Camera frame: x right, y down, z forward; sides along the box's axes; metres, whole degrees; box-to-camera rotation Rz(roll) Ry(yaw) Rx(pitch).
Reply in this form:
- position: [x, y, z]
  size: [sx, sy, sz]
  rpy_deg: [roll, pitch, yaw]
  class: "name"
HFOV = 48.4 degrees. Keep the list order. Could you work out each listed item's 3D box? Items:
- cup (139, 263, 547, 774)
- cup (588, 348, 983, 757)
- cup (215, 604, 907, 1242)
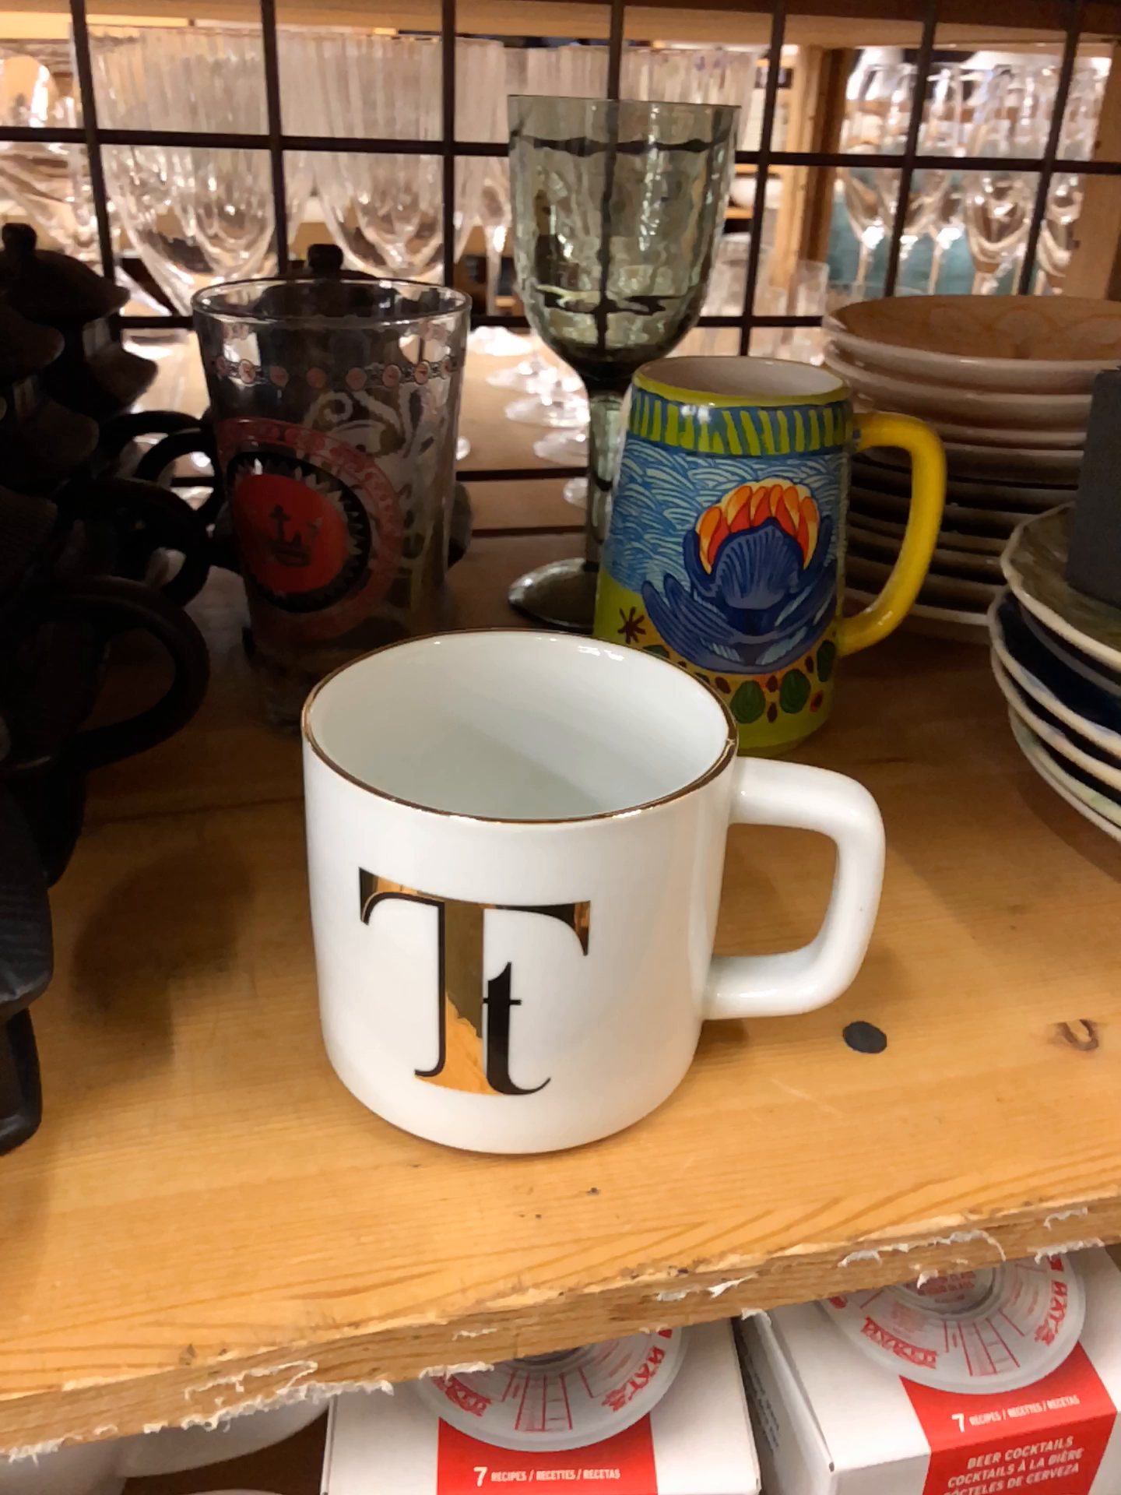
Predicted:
- position: [-0.065, -0.078, 0.405]
  size: [0.093, 0.134, 0.079]
  rpy_deg: [15, 30, 22]
  class: "cup"
- position: [0.062, -0.062, 0.388]
  size: [0.092, 0.104, 0.079]
  rpy_deg: [-1, 28, -6]
  class: "cup"
- position: [0.005, 0.031, 0.273]
  size: [0.123, 0.084, 0.089]
  rpy_deg: [8, 29, 10]
  class: "cup"
